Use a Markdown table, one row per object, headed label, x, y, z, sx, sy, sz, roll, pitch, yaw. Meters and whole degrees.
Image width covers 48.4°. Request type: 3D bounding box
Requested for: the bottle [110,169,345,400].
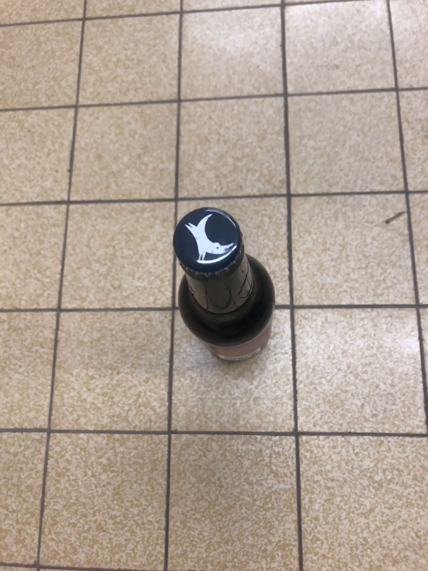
| label | x | y | z | sx | sy | sz | roll | pitch | yaw |
| --- | --- | --- | --- | --- | --- | --- | --- | --- | --- |
| bottle | 0.014 | 0.022 | 0.283 | 0.070 | 0.210 | 0.070 | -1 | 76 | 6 |
